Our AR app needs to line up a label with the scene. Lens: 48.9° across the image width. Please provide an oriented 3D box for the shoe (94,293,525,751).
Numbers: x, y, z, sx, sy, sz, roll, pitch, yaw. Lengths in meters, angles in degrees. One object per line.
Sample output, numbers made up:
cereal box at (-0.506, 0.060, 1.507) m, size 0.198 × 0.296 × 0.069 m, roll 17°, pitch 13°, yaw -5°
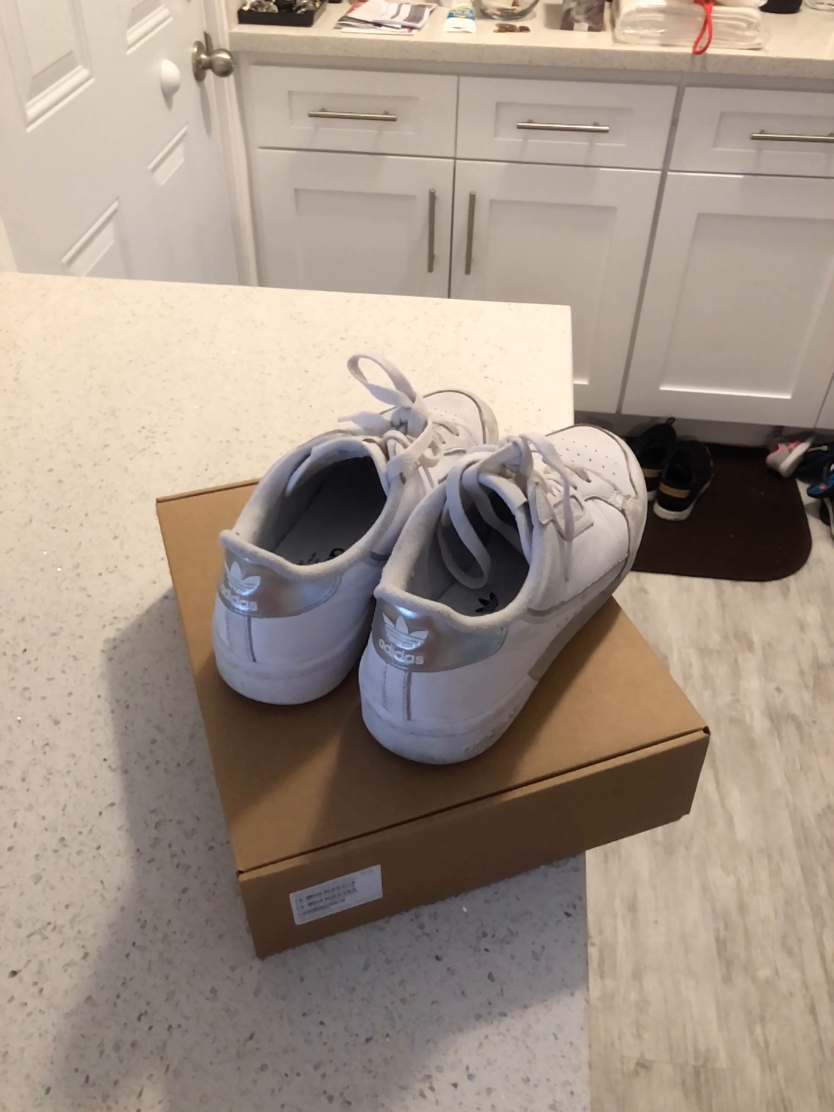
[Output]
shoe at (-0.041, -0.038, 0.526) m, size 0.107 × 0.100 × 0.268 m, roll 19°, pitch 45°, yaw 19°

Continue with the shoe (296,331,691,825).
shoe at (0.054, -0.008, 0.503) m, size 0.107 × 0.100 × 0.268 m, roll 19°, pitch 45°, yaw 19°
